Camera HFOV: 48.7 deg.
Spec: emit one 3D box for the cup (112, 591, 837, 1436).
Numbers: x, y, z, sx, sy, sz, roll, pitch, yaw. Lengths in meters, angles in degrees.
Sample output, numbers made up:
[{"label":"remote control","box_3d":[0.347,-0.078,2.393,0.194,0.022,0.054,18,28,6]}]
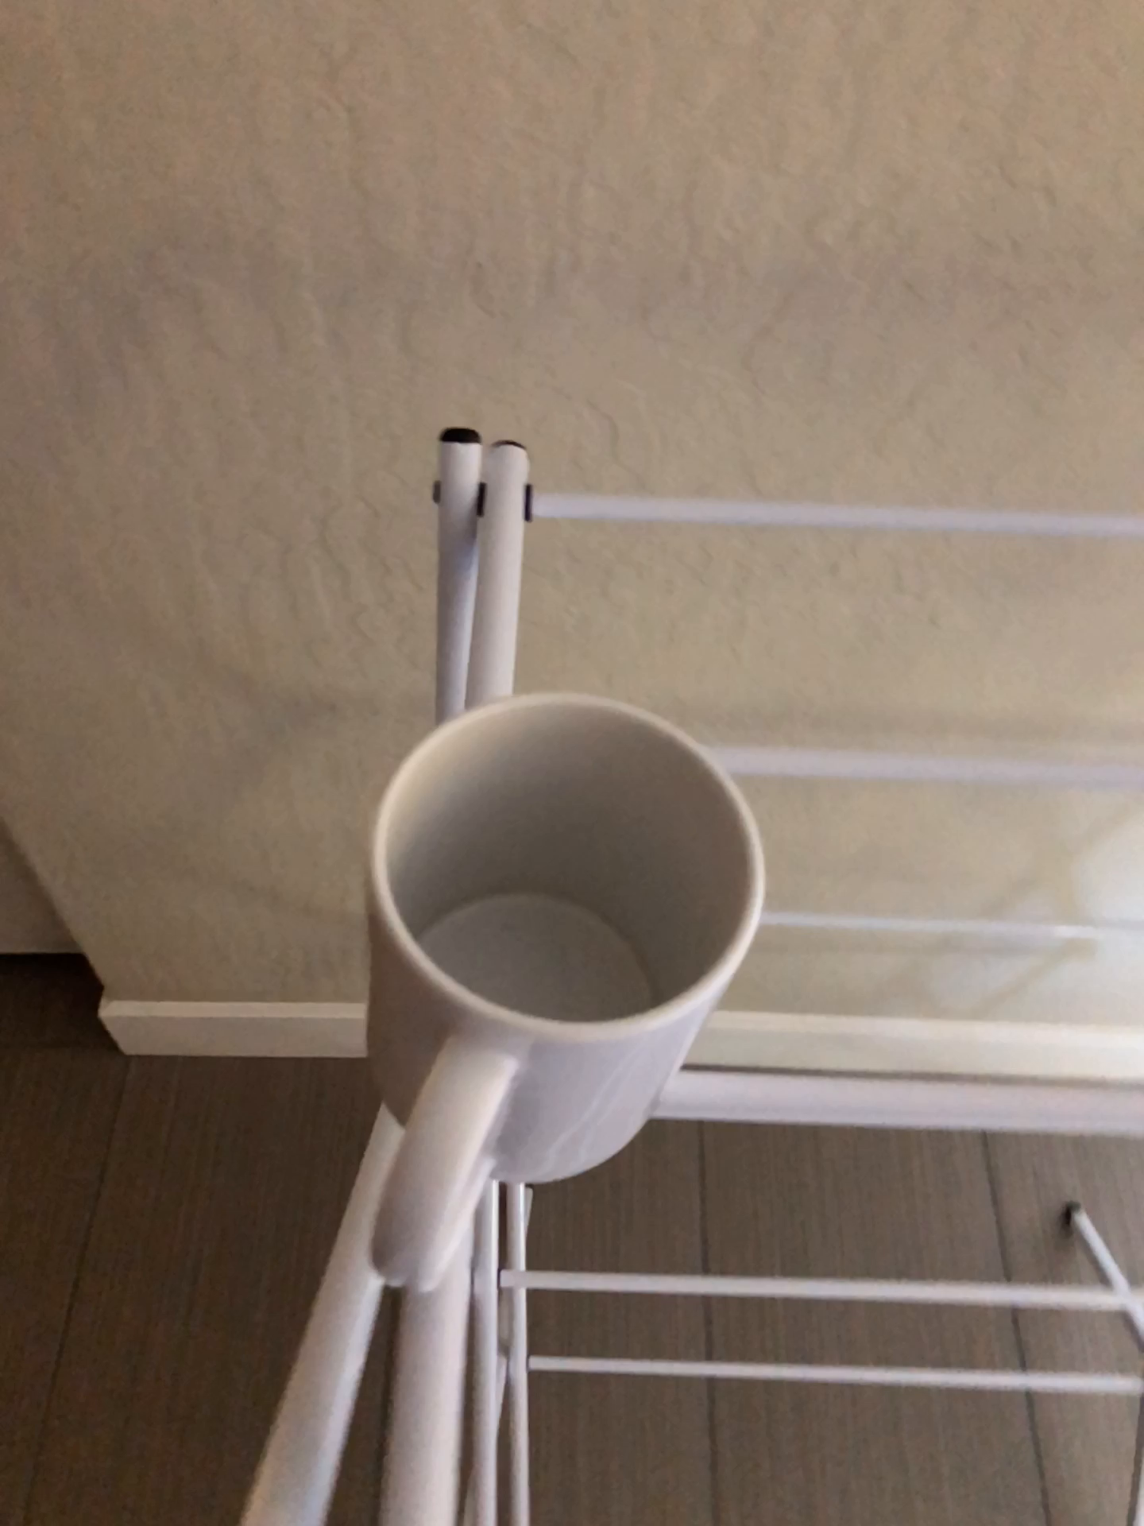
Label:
[{"label":"cup","box_3d":[-0.015,0.052,0.274,0.090,0.090,0.130,23,54,7]}]
